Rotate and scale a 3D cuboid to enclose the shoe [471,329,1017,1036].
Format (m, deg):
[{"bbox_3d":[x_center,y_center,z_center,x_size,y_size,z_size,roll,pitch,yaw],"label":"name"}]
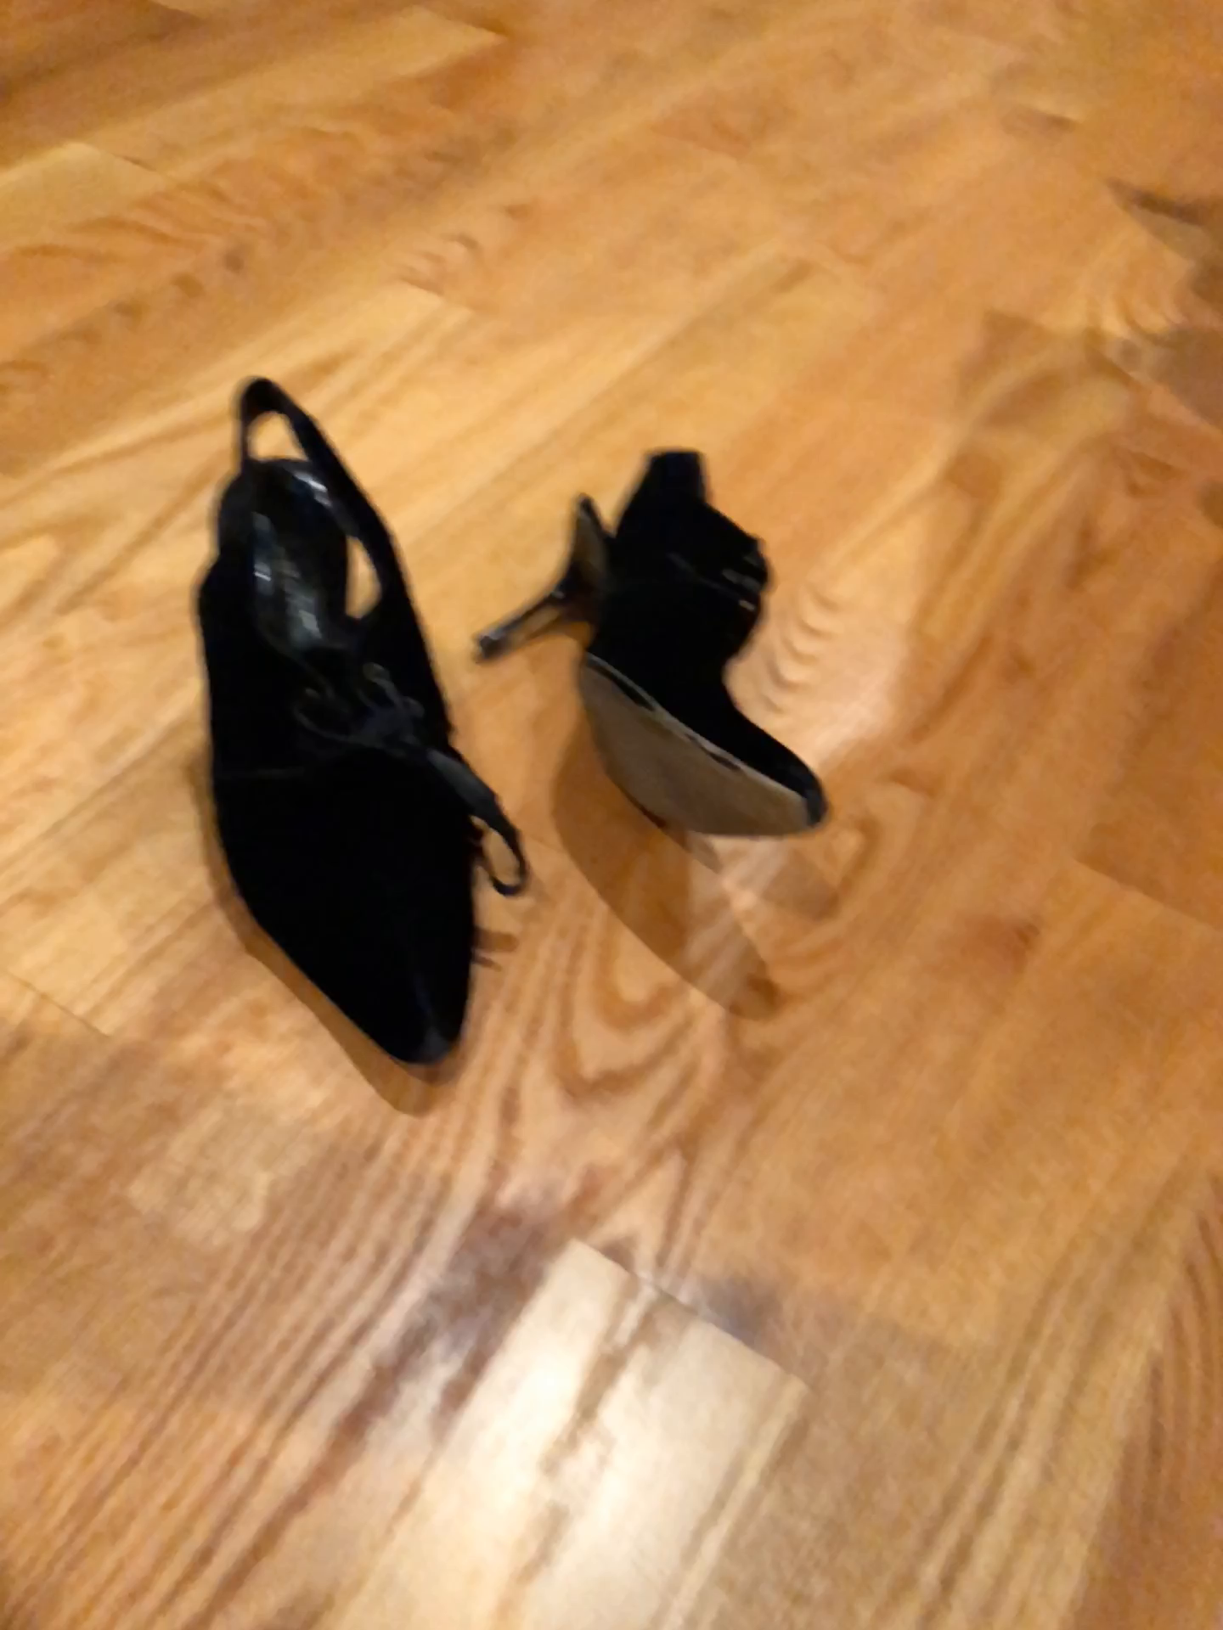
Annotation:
[{"bbox_3d":[0.027,-0.063,0.495,0.118,0.107,0.253,-6,49,-12],"label":"shoe"}]

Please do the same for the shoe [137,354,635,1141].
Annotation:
[{"bbox_3d":[-0.089,-0.038,0.469,0.107,0.117,0.253,-9,50,-16],"label":"shoe"}]
